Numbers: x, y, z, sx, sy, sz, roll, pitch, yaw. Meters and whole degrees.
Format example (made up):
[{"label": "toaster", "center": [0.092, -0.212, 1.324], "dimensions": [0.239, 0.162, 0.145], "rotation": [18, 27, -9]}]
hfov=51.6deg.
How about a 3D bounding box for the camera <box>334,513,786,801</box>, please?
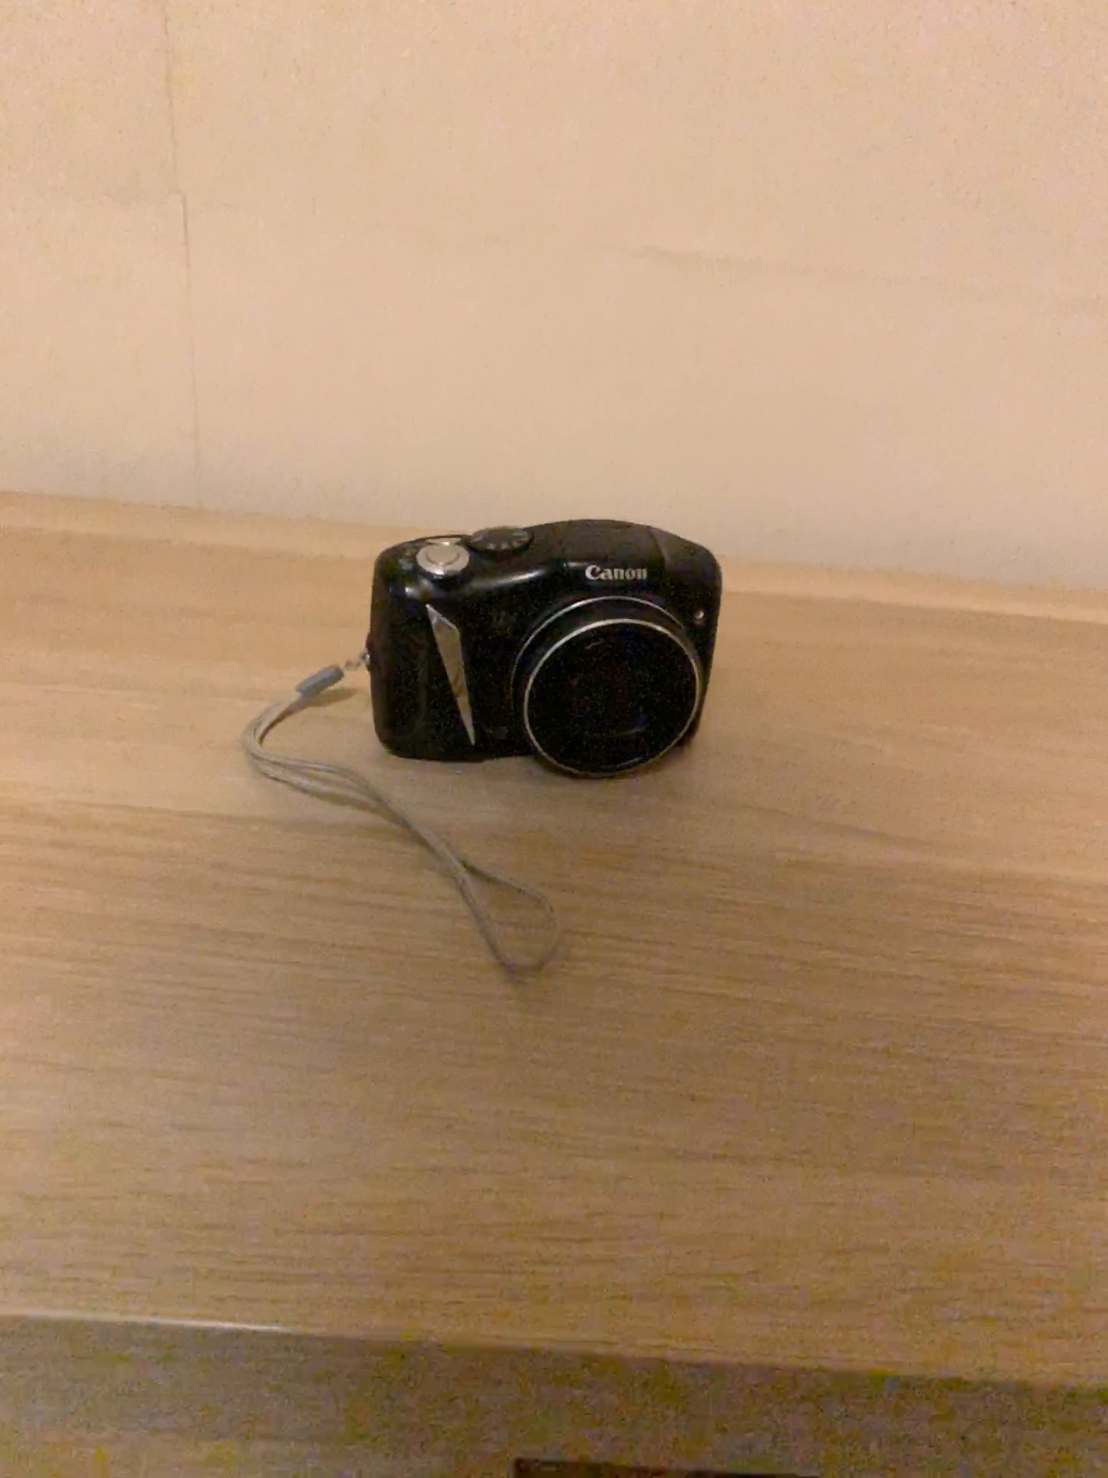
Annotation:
[{"label": "camera", "center": [-0.003, -0.029, 0.351], "dimensions": [0.120, 0.059, 0.069], "rotation": [-3, 31, -16]}]
